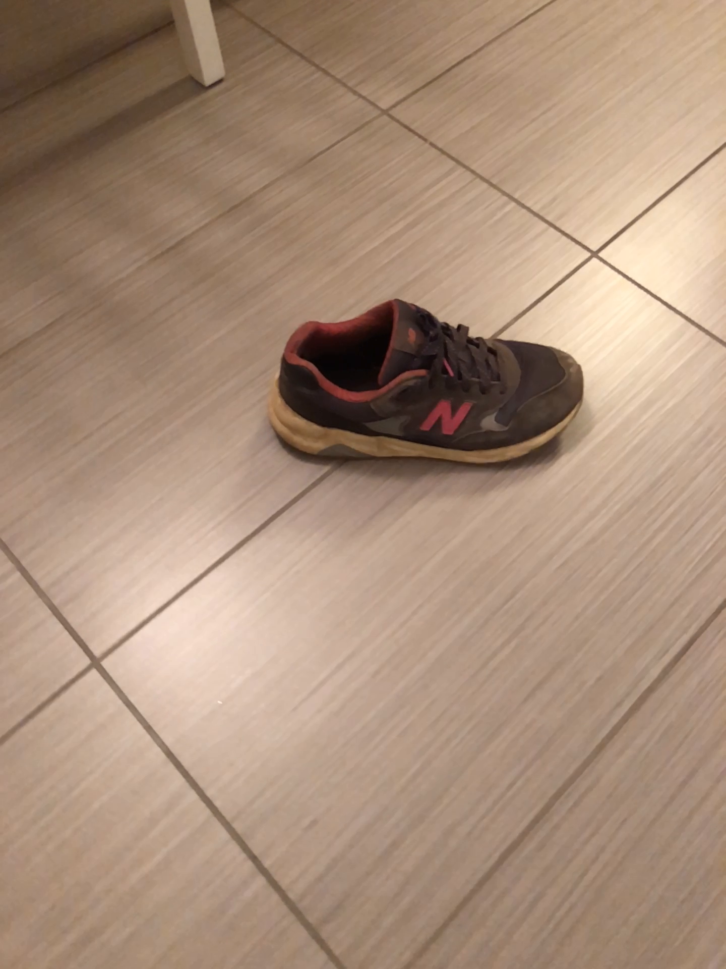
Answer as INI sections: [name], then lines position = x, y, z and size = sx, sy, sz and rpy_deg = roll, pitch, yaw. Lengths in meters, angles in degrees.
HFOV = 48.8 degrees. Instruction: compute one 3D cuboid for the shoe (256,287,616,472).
[shoe]
position = 0.053, -0.086, 0.658
size = 0.270, 0.070, 0.120
rpy_deg = -3, 61, -1
